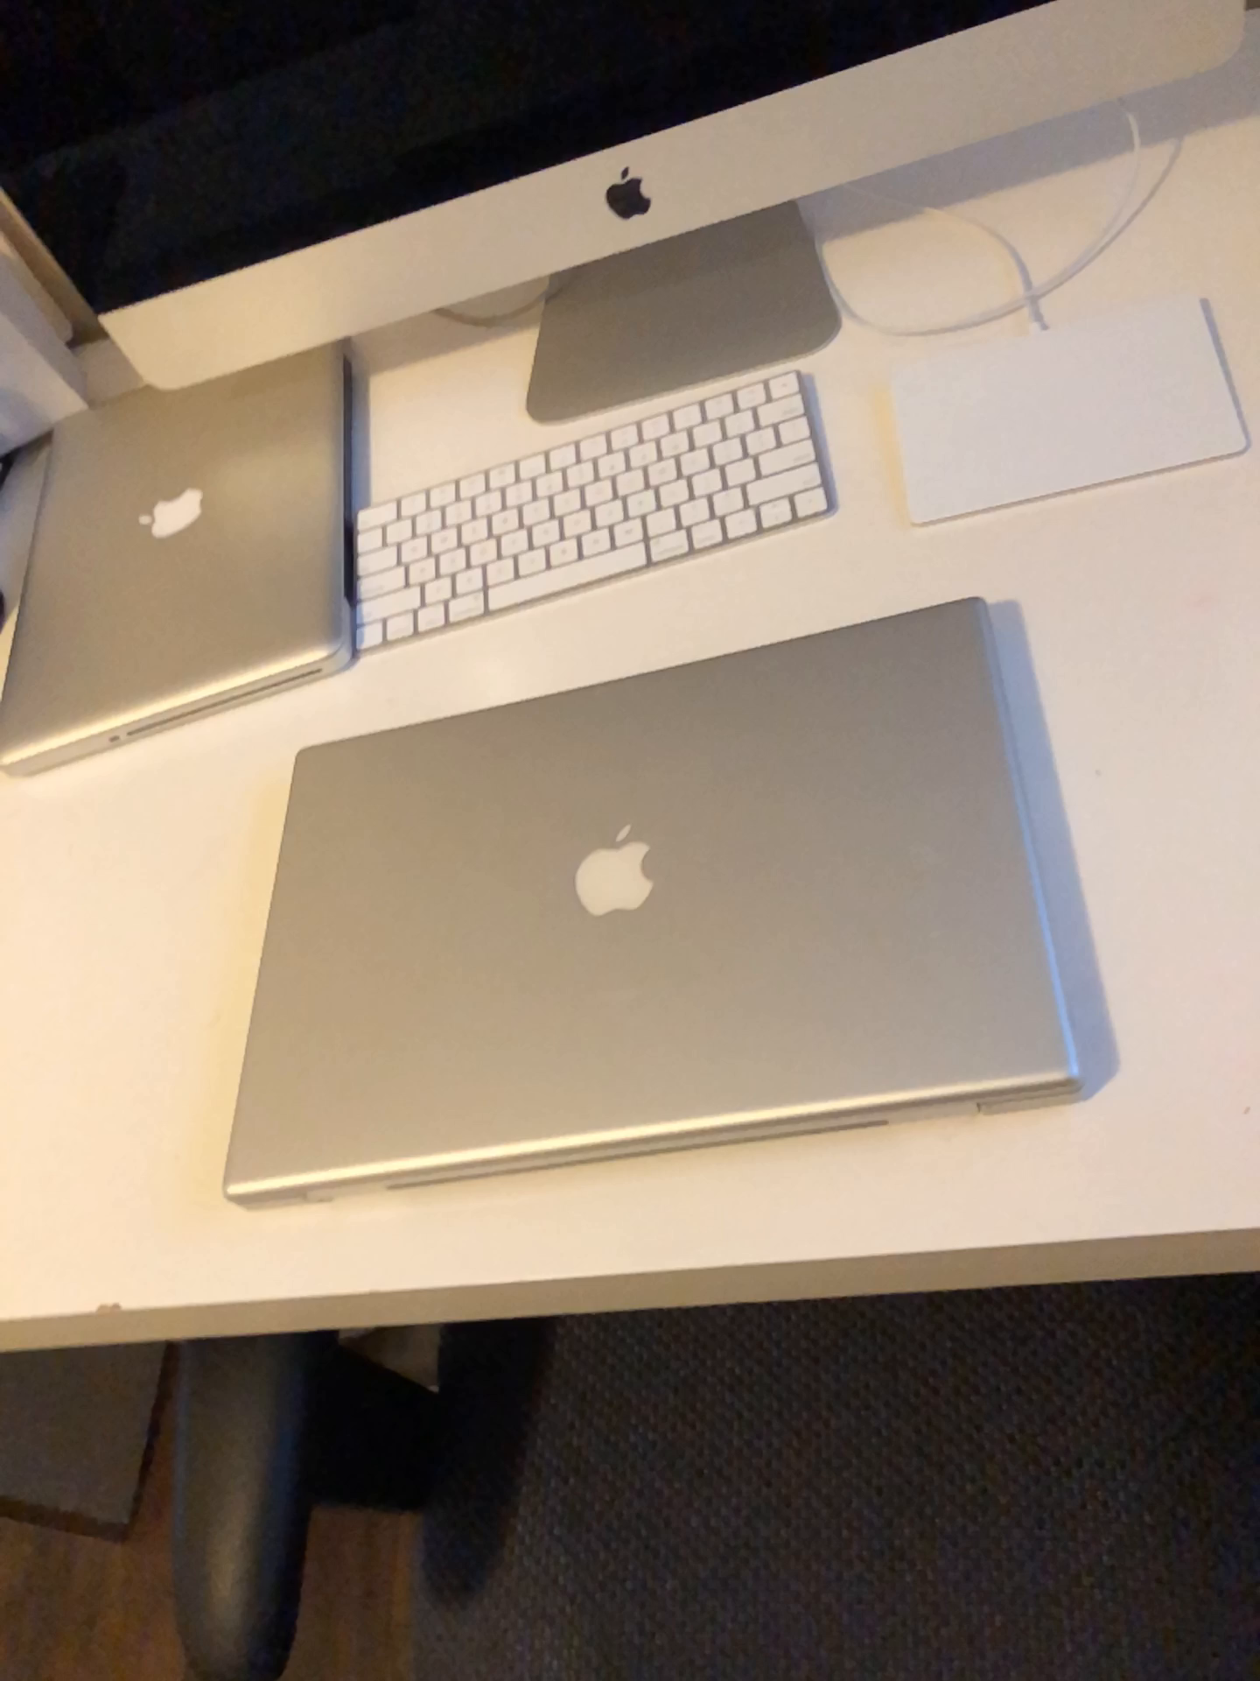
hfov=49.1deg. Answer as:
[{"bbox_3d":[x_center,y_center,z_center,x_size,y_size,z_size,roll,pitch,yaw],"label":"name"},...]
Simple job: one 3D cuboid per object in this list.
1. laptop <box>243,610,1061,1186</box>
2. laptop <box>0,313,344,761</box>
[{"bbox_3d":[-0.002,0.022,0.594,0.332,0.005,0.215,-11,56,15],"label":"laptop"},{"bbox_3d":[-0.277,-0.196,0.846,0.200,0.009,0.279,-14,56,9],"label":"laptop"}]
